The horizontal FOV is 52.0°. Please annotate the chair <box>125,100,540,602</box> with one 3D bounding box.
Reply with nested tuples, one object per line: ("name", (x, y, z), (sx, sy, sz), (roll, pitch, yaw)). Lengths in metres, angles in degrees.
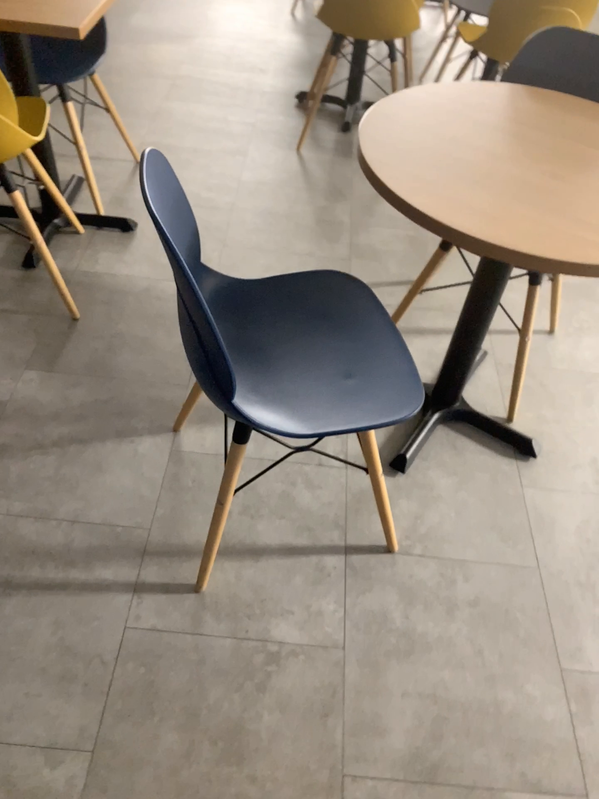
("chair", (-0.020, -0.060, 1.195), (0.497, 0.809, 0.494), (-7, 49, -13))
